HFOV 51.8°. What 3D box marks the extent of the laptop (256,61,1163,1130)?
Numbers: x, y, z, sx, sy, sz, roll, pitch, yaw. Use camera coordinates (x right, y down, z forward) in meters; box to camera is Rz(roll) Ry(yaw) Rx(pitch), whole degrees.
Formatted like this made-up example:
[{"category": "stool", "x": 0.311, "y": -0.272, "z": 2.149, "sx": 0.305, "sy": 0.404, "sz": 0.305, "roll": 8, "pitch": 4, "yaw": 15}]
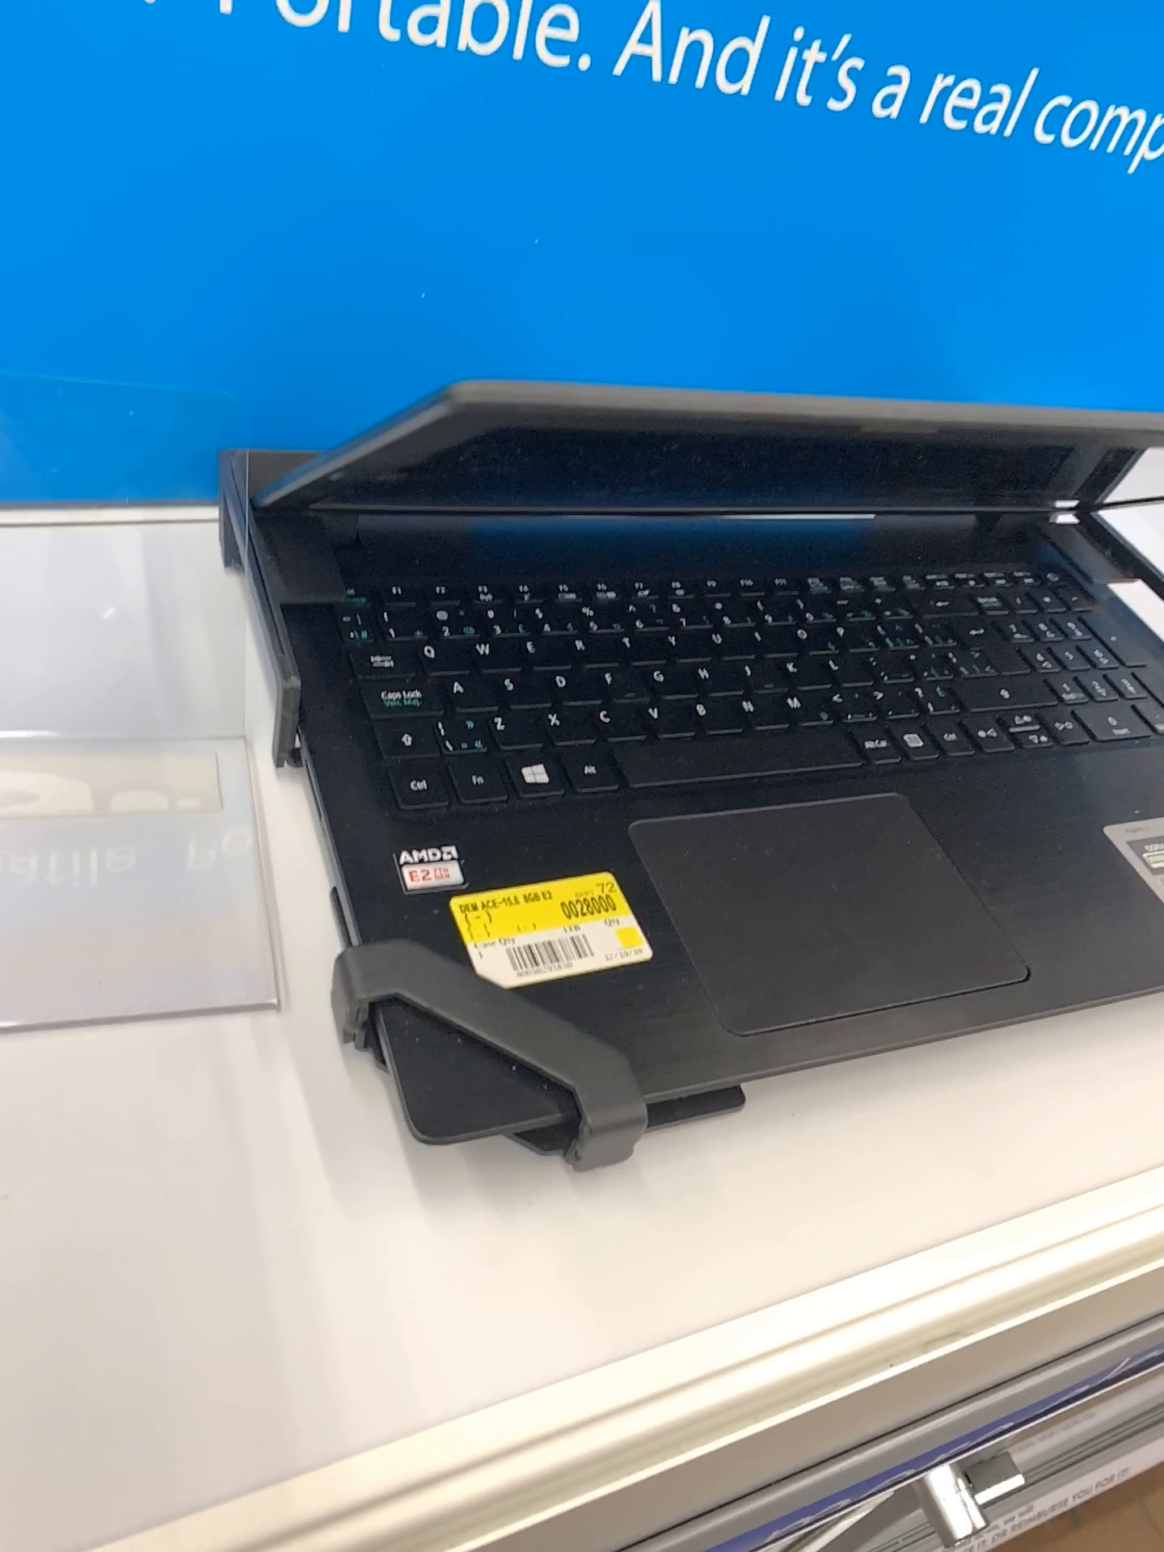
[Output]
[{"category": "laptop", "x": 0.107, "y": -0.066, "z": 0.367, "sx": 0.364, "sy": 0.137, "sz": 0.222, "roll": -5, "pitch": 50, "yaw": -25}]
